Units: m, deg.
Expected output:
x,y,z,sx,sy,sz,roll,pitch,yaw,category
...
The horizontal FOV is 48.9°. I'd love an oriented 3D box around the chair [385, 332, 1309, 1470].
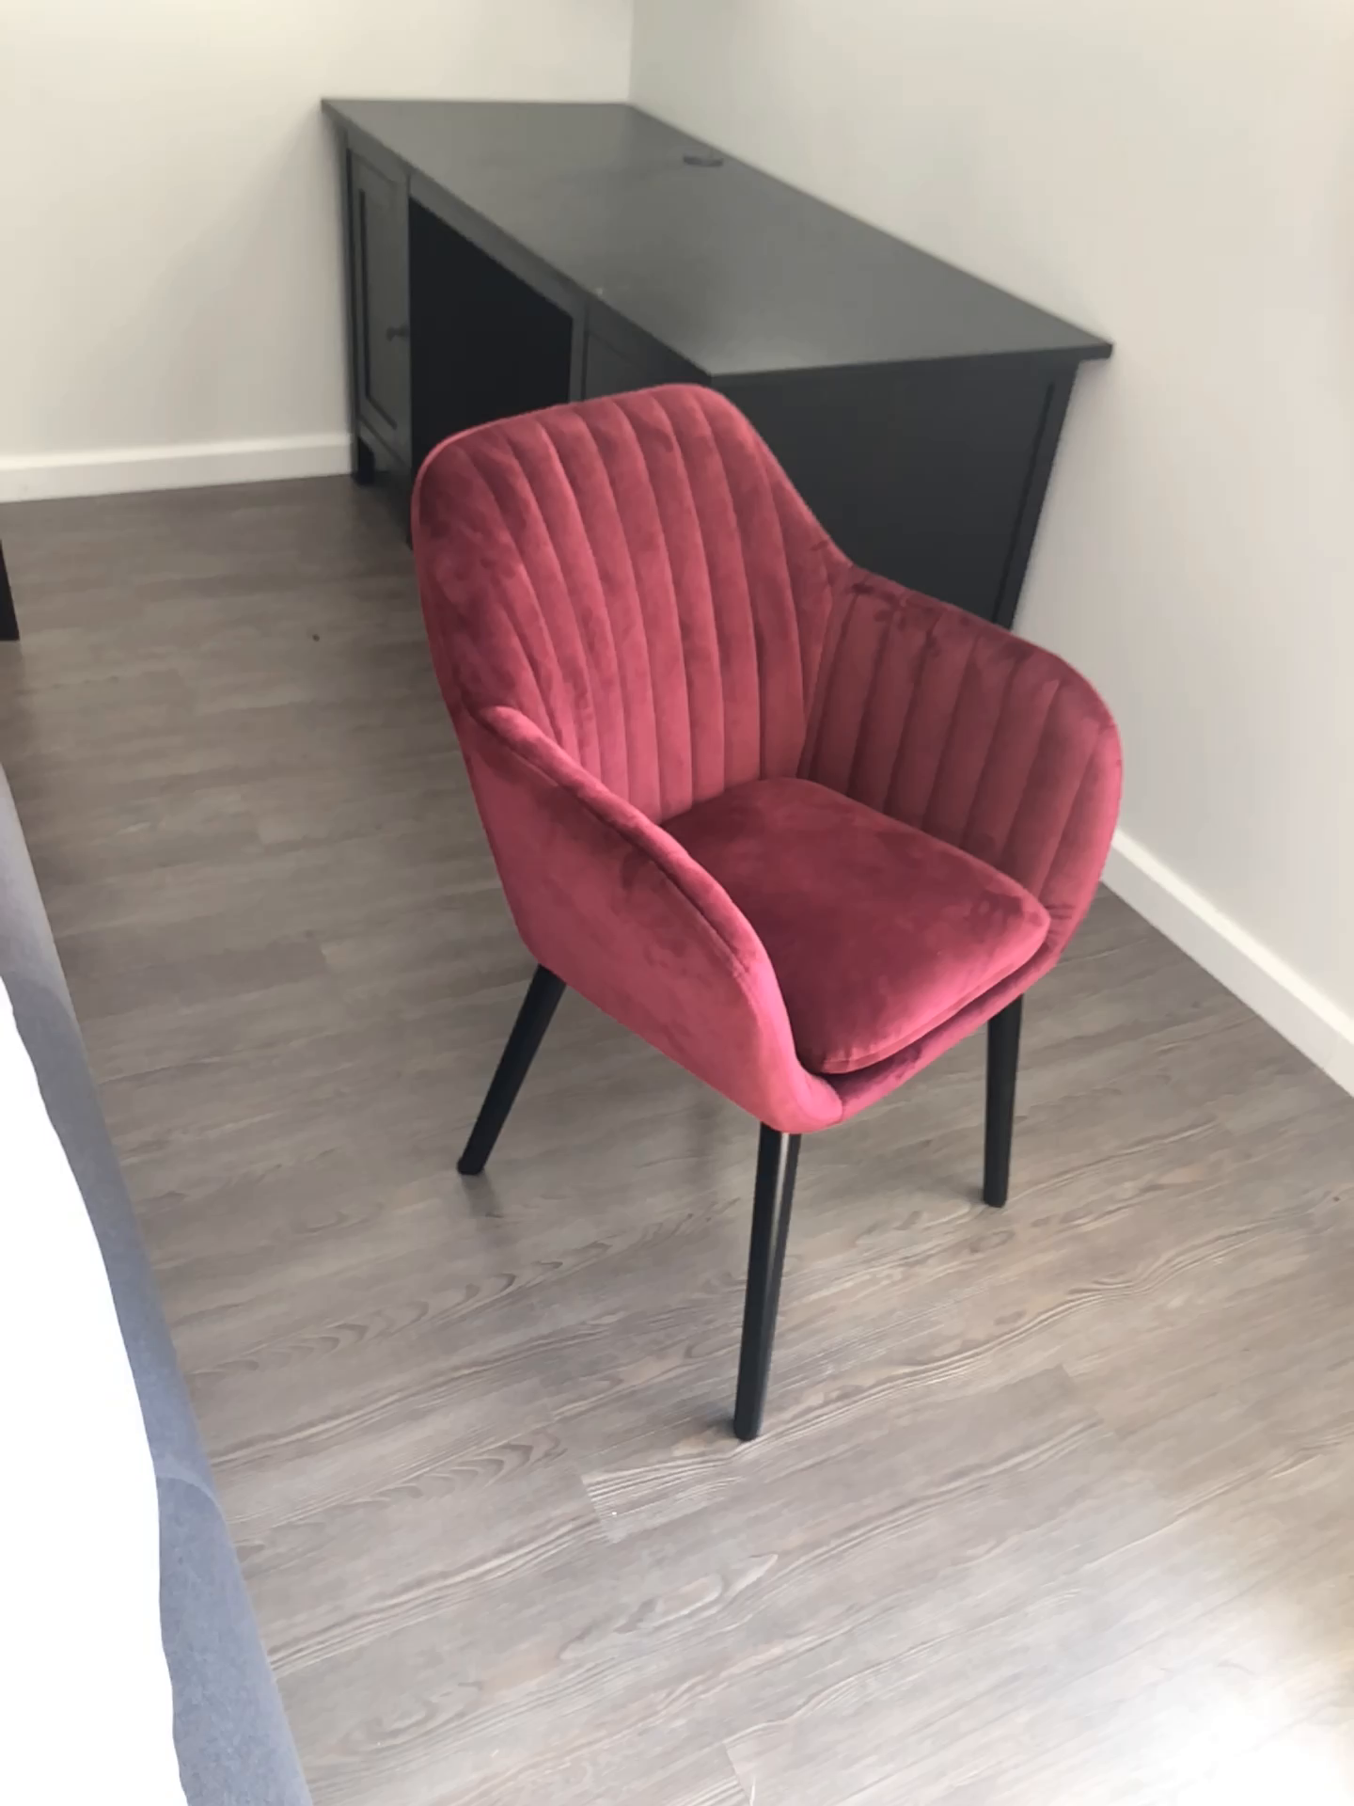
x,y,z,sx,sy,sz,roll,pitch,yaw,category
0.102,-0.026,1.480,0.543,0.835,0.550,-26,48,-36,chair
